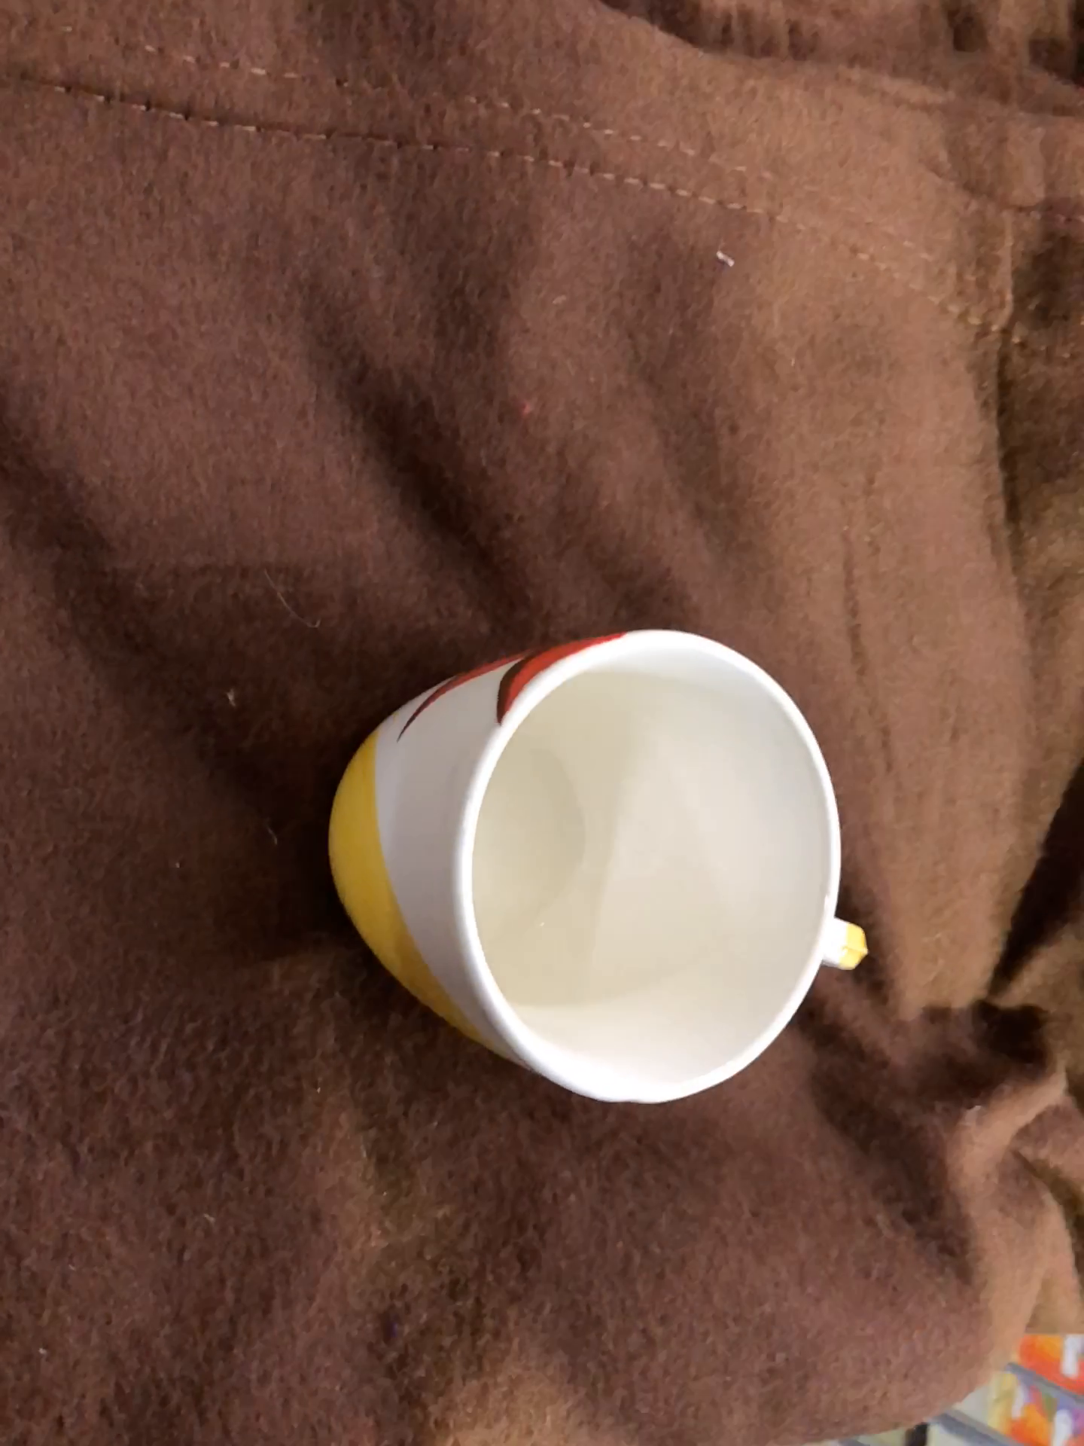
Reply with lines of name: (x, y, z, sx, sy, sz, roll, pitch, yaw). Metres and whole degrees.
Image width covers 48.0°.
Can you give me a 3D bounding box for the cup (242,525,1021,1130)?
cup: (0.014, 0.018, 0.186, 0.090, 0.060, 0.060, 19, 80, -30)
